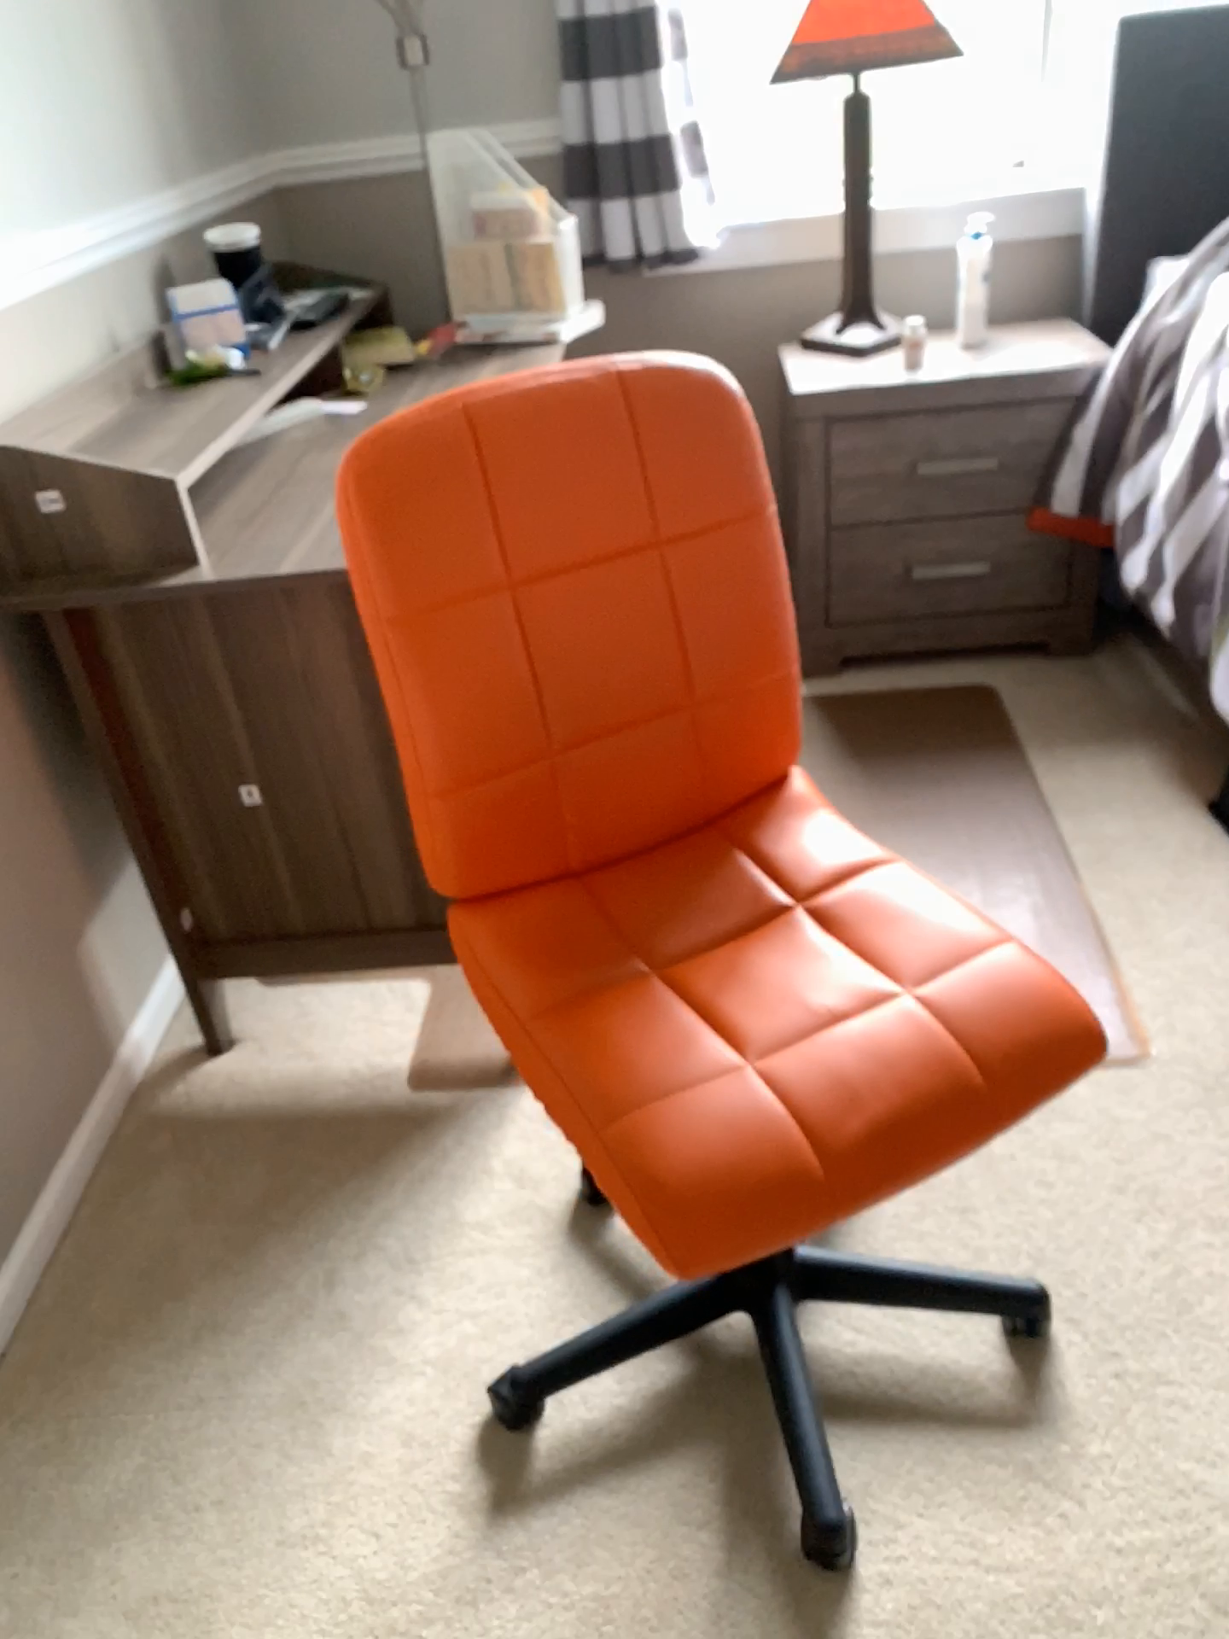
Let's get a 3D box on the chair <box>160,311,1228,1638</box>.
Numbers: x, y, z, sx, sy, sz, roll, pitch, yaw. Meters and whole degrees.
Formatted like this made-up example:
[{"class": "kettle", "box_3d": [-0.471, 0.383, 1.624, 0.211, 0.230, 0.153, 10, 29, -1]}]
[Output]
[{"class": "chair", "box_3d": [0.089, 0.108, 1.146, 0.615, 0.902, 0.620, -21, 34, -22]}]
